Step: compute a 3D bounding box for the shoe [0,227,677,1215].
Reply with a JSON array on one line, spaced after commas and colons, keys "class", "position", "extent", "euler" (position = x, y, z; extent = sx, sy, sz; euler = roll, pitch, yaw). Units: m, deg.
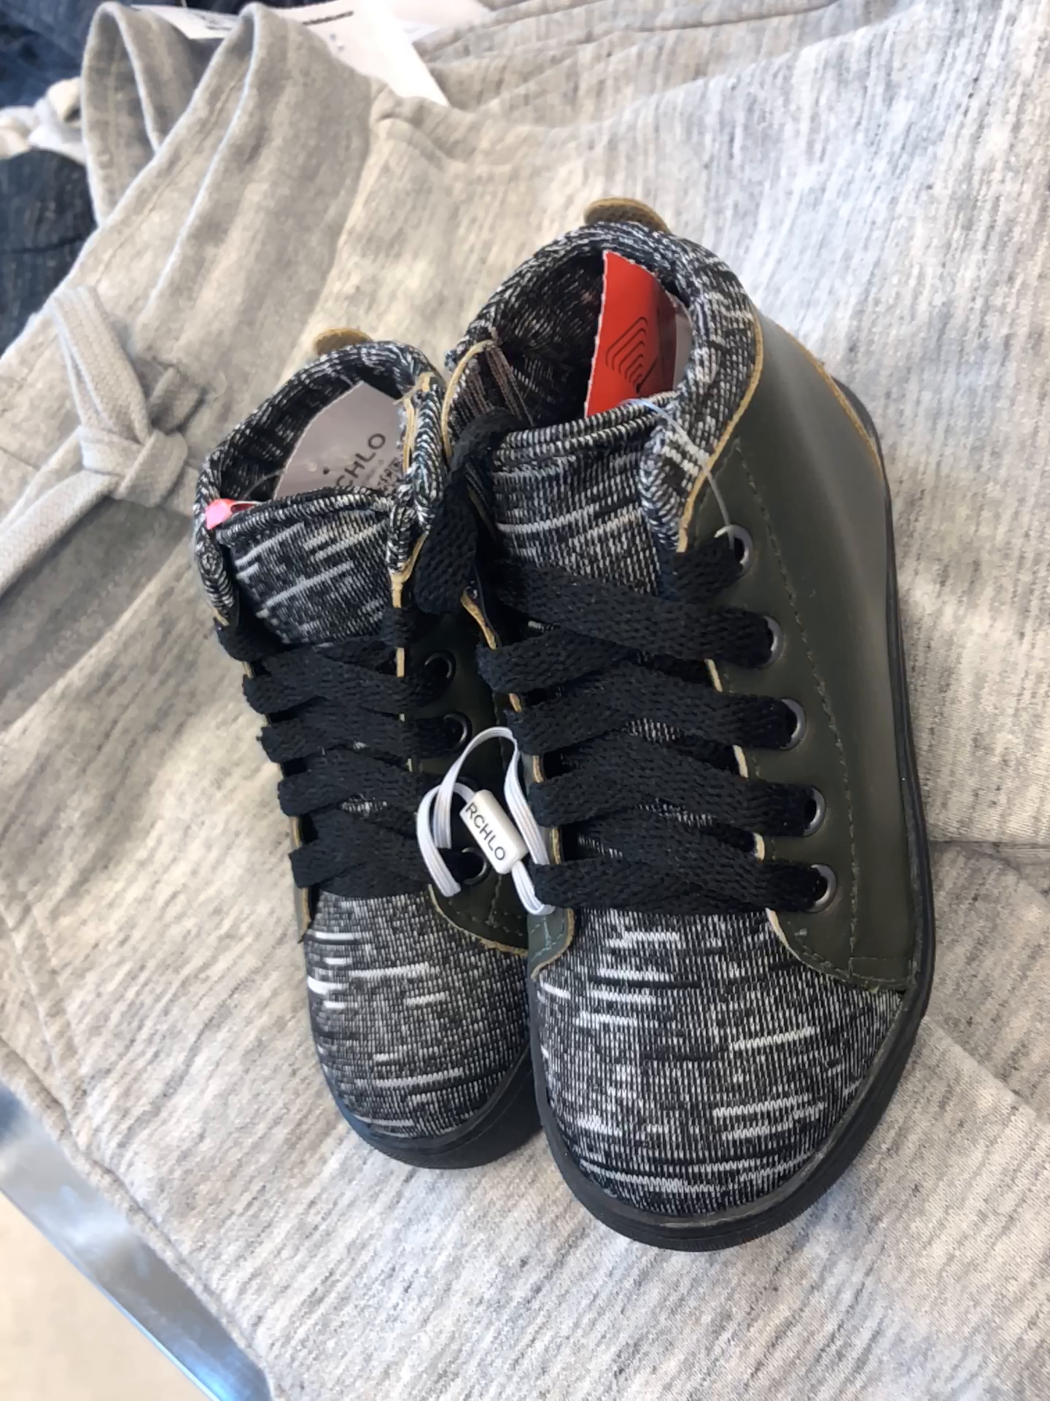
[{"class": "shoe", "position": [-0.029, 0.009, 0.240], "extent": [0.080, 0.090, 0.160], "euler": [-3, 72, 29]}]

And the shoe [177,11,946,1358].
[{"class": "shoe", "position": [0.017, 0.000, 0.197], "extent": [0.080, 0.090, 0.170], "euler": [-6, 70, 28]}]
